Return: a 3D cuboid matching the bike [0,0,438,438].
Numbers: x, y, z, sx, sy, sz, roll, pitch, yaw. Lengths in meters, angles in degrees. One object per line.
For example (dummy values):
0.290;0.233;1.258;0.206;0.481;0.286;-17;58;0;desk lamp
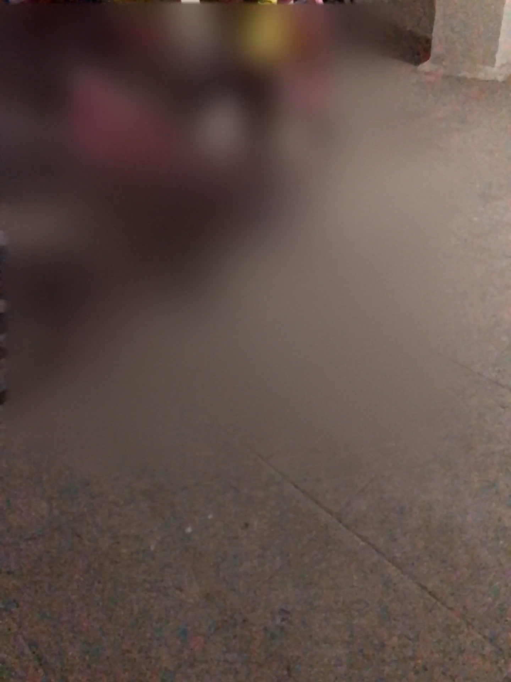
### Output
0.001;-0.536;1.633;0.494;0.910;1.284;23;45;32;bike
